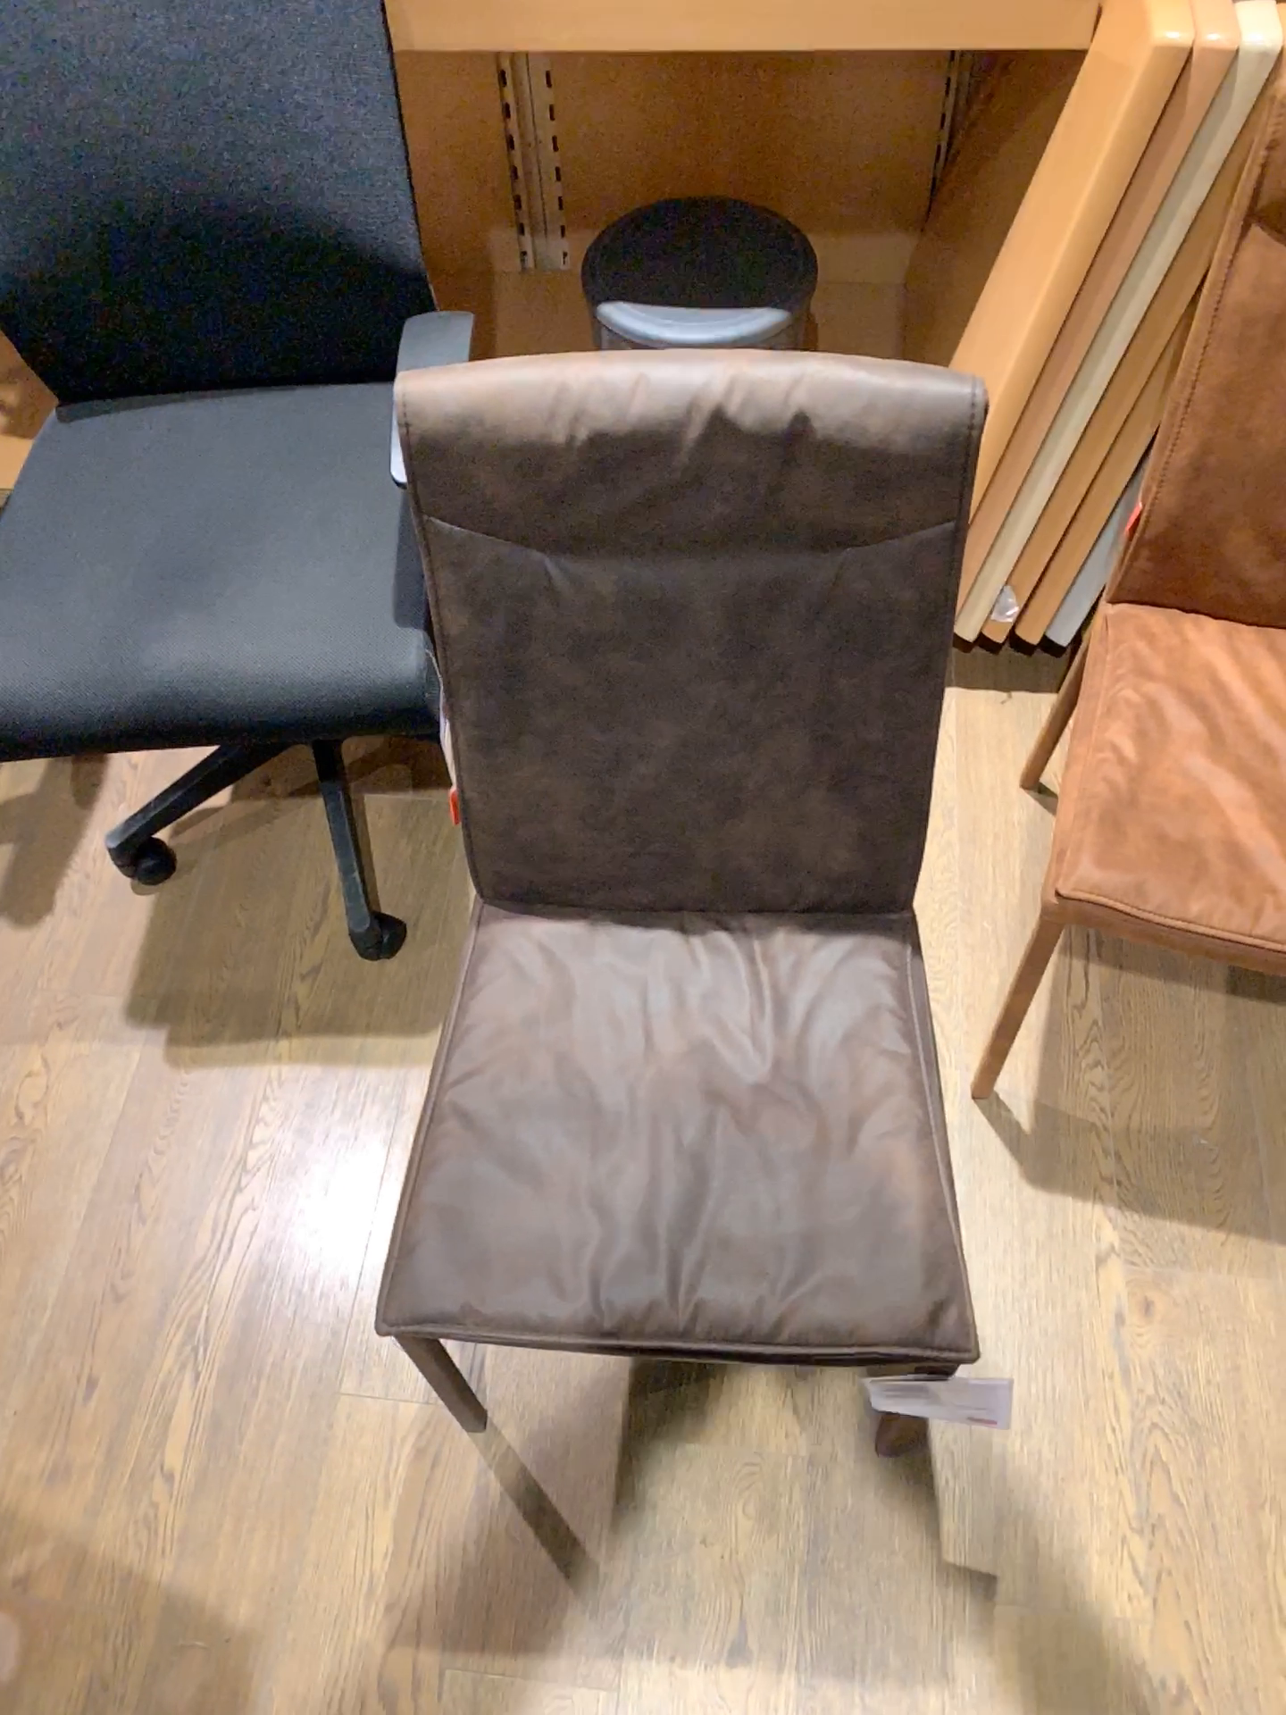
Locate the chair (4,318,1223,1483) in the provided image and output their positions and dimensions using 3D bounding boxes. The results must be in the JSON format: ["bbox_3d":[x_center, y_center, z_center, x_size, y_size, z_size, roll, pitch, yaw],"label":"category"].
[{"bbox_3d":[0.018,0.132,1.054,0.500,0.908,0.521,3,57,5],"label":"chair"}]
